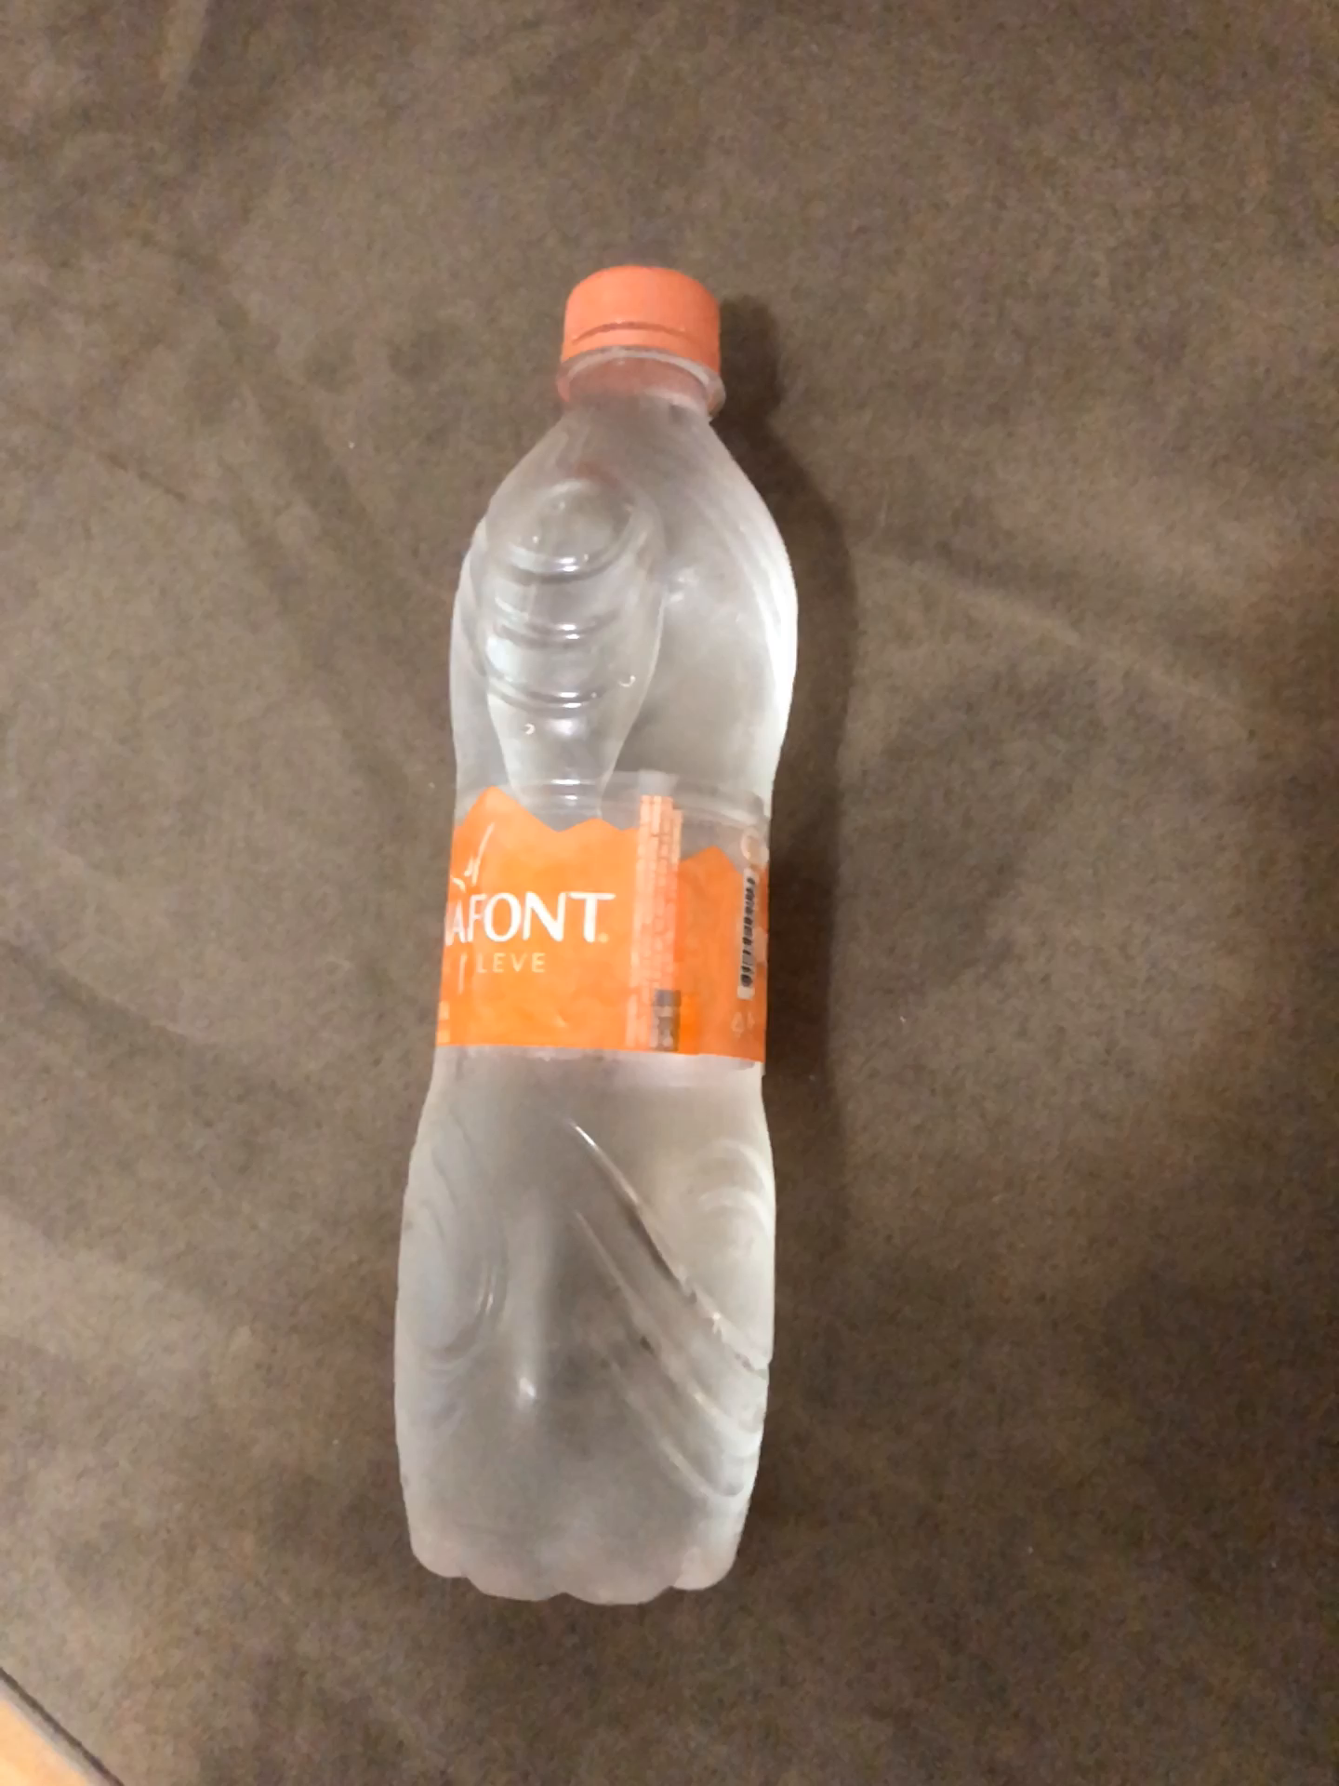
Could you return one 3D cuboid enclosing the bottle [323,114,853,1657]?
[{"bbox_3d":[-0.009,-0.006,0.264,0.070,0.050,0.240,0,82,18],"label":"bottle"}]
